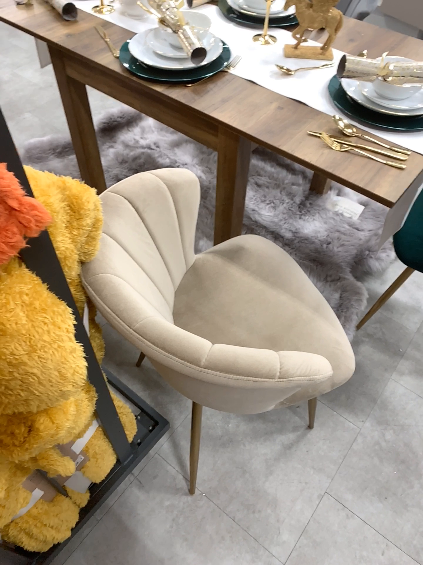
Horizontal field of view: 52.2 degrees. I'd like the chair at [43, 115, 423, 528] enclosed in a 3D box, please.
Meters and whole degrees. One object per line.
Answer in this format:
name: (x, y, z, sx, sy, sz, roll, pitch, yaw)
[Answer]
chair: (0.017, 0.120, 1.066, 0.536, 0.723, 0.564, -20, 55, -17)
